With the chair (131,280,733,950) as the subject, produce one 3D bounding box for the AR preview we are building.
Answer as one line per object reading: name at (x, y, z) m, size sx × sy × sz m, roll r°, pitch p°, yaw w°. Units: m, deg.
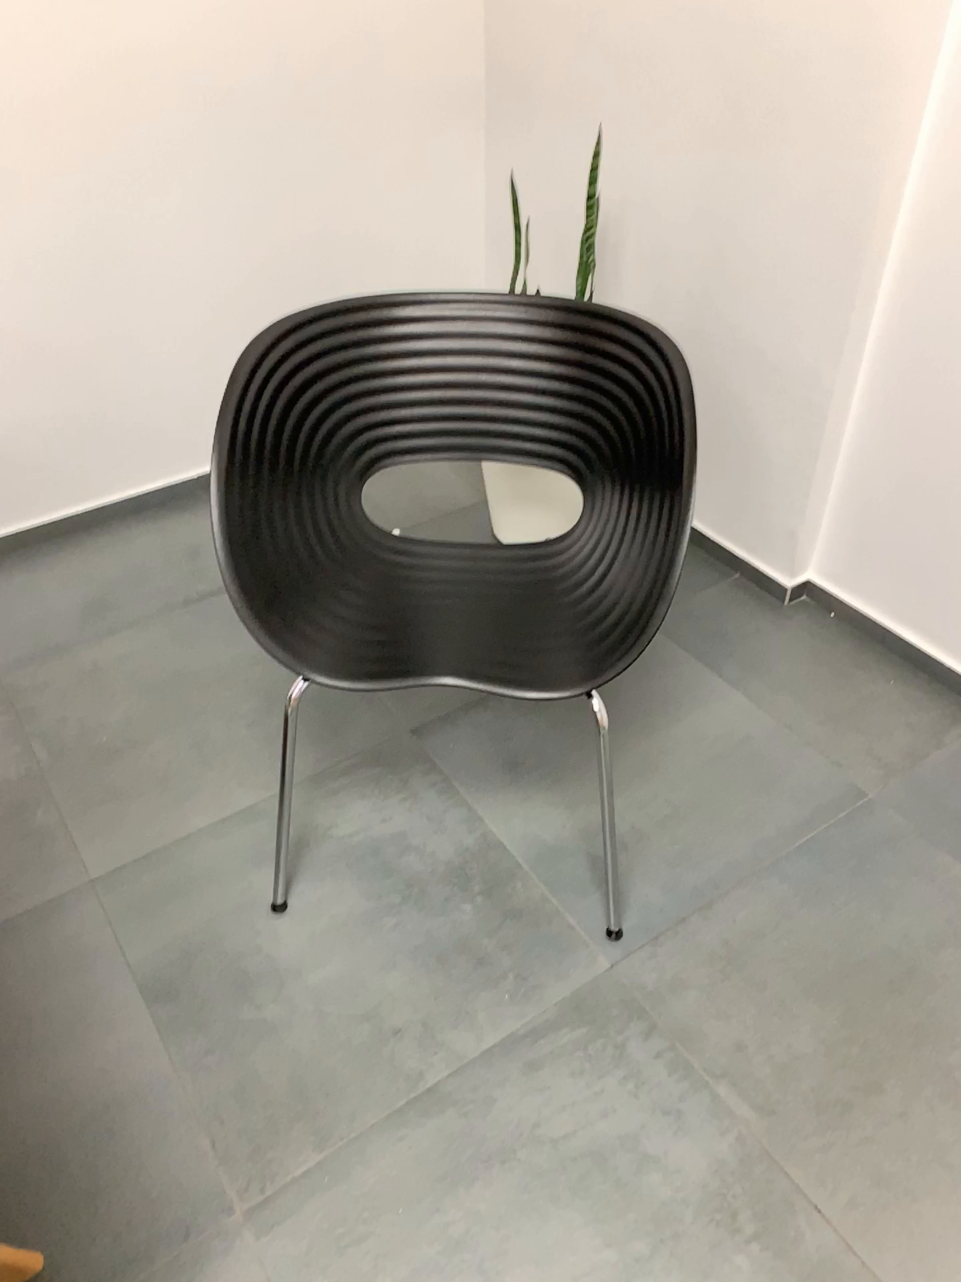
chair at (-0.028, -0.046, 1.551) m, size 0.650 × 0.796 × 0.644 m, roll 3°, pitch 40°, yaw 4°
